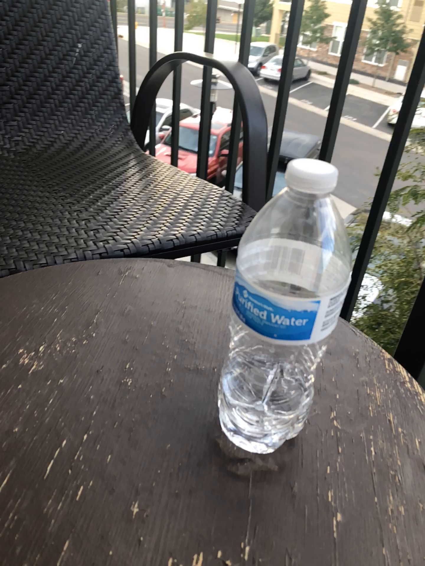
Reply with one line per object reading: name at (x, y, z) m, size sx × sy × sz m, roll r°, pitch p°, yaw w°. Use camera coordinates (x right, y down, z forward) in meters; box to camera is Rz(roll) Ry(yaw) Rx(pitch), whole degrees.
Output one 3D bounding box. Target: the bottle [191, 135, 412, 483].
bottle at (0.046, 0.018, 0.291) m, size 0.075 × 0.189 × 0.080 m, roll 4°, pitch 33°, yaw -3°
